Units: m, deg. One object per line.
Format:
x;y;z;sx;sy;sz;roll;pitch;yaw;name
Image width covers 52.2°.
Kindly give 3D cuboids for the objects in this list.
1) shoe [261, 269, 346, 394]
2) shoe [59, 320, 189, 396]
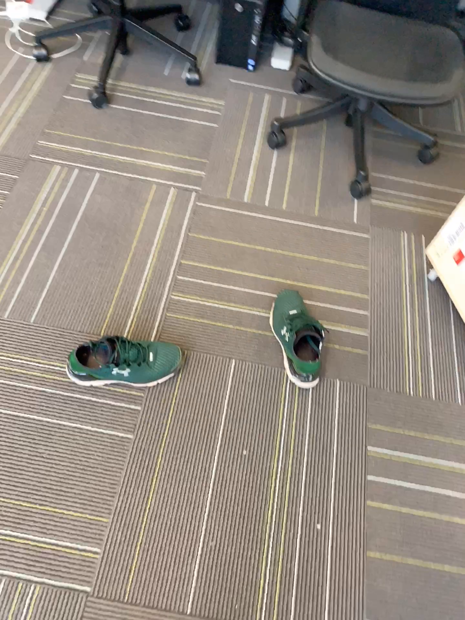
0.187;0.056;1.322;0.130;0.130;0.311;-7;61;-11;shoe
-0.274;0.124;1.236;0.310;0.130;0.131;-4;60;-9;shoe
